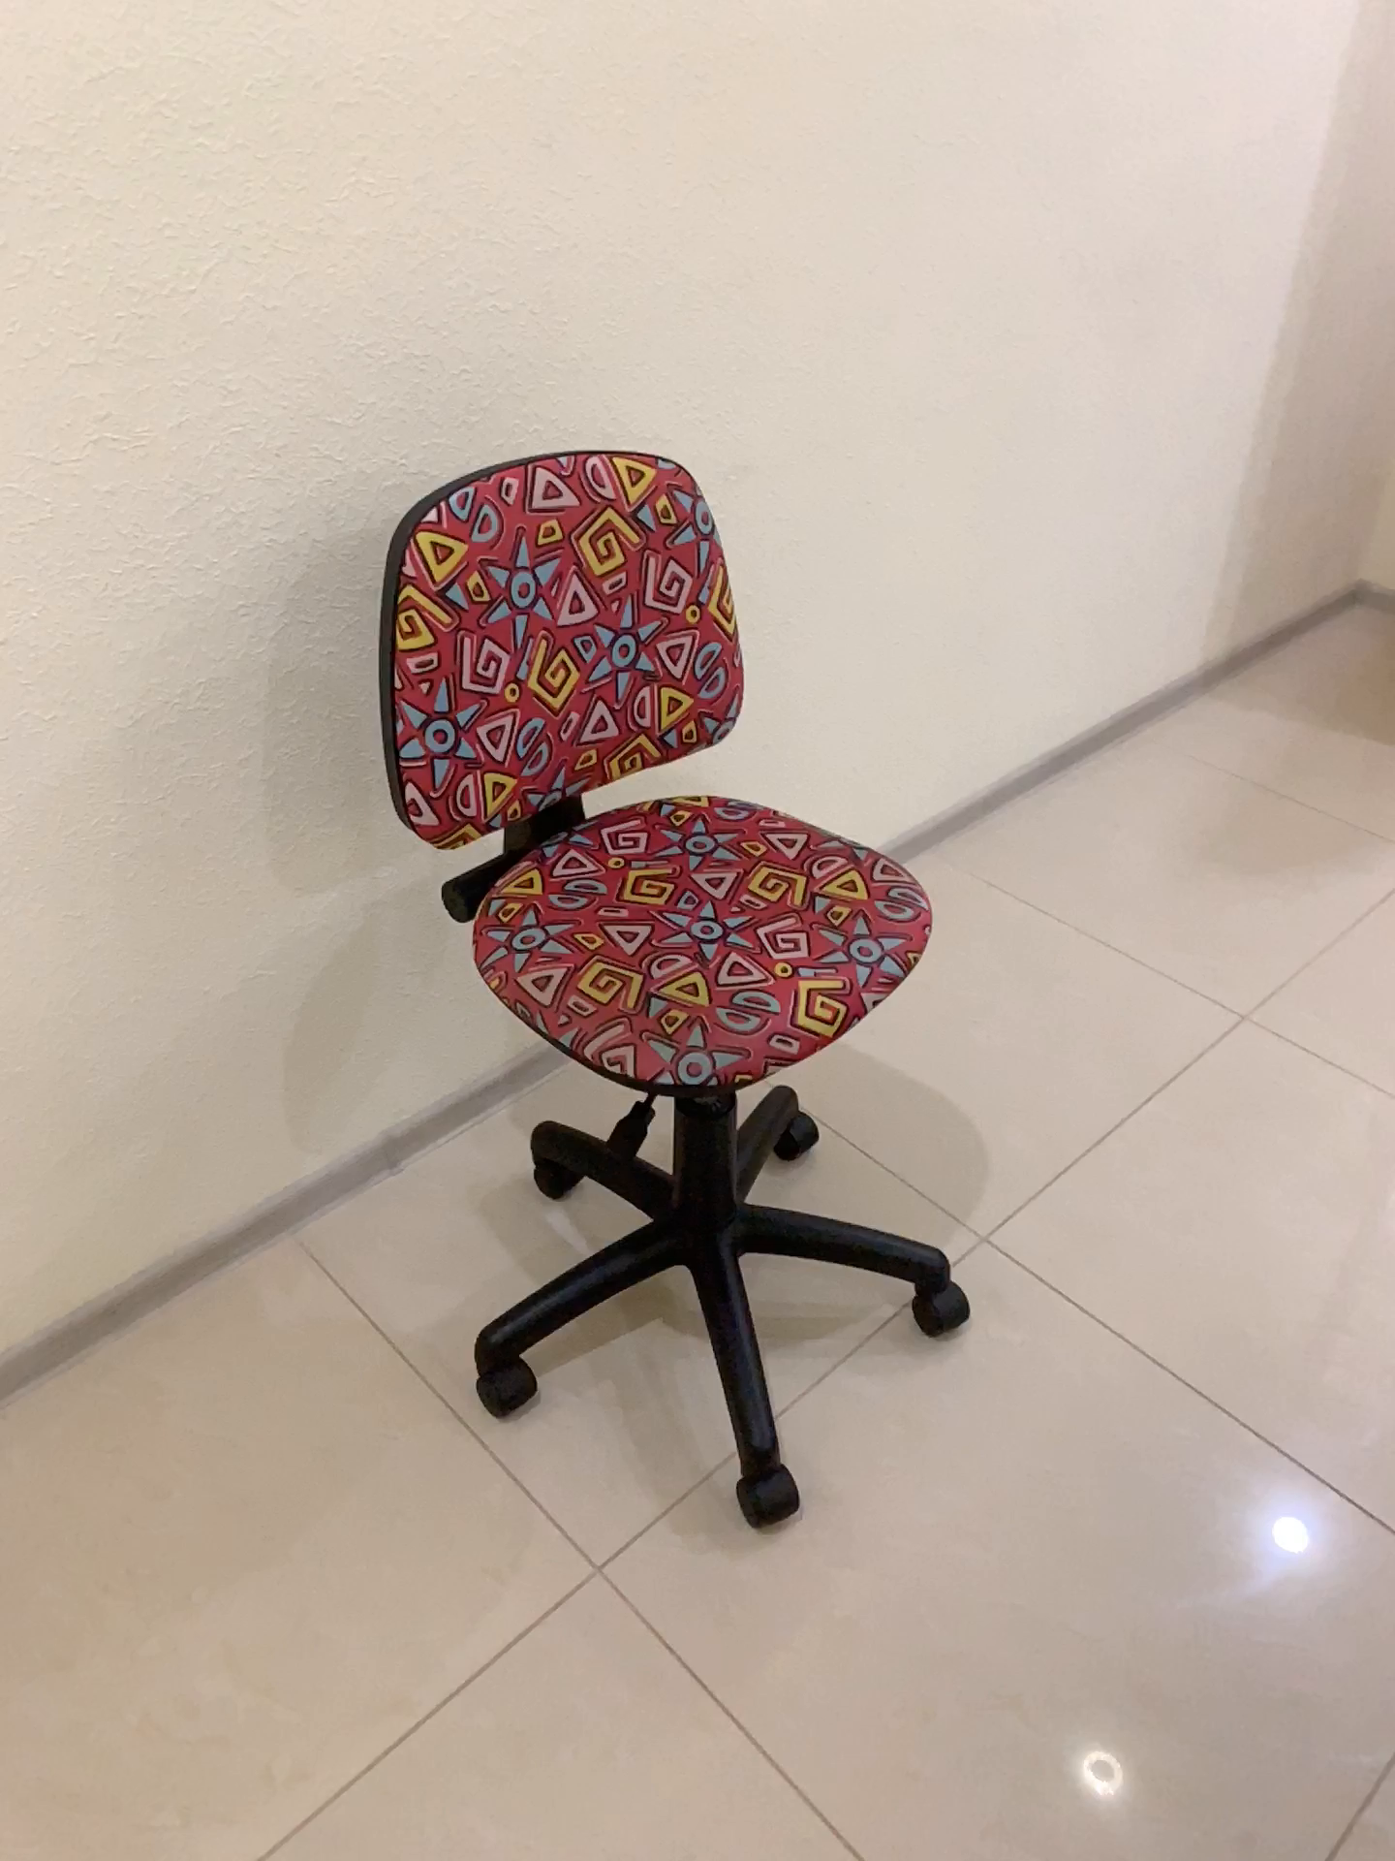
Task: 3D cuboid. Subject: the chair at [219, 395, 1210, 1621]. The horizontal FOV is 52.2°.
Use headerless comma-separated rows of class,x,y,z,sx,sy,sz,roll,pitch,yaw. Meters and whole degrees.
chair,0.009,0.054,1.371,0.552,0.885,0.542,-30,46,-34
